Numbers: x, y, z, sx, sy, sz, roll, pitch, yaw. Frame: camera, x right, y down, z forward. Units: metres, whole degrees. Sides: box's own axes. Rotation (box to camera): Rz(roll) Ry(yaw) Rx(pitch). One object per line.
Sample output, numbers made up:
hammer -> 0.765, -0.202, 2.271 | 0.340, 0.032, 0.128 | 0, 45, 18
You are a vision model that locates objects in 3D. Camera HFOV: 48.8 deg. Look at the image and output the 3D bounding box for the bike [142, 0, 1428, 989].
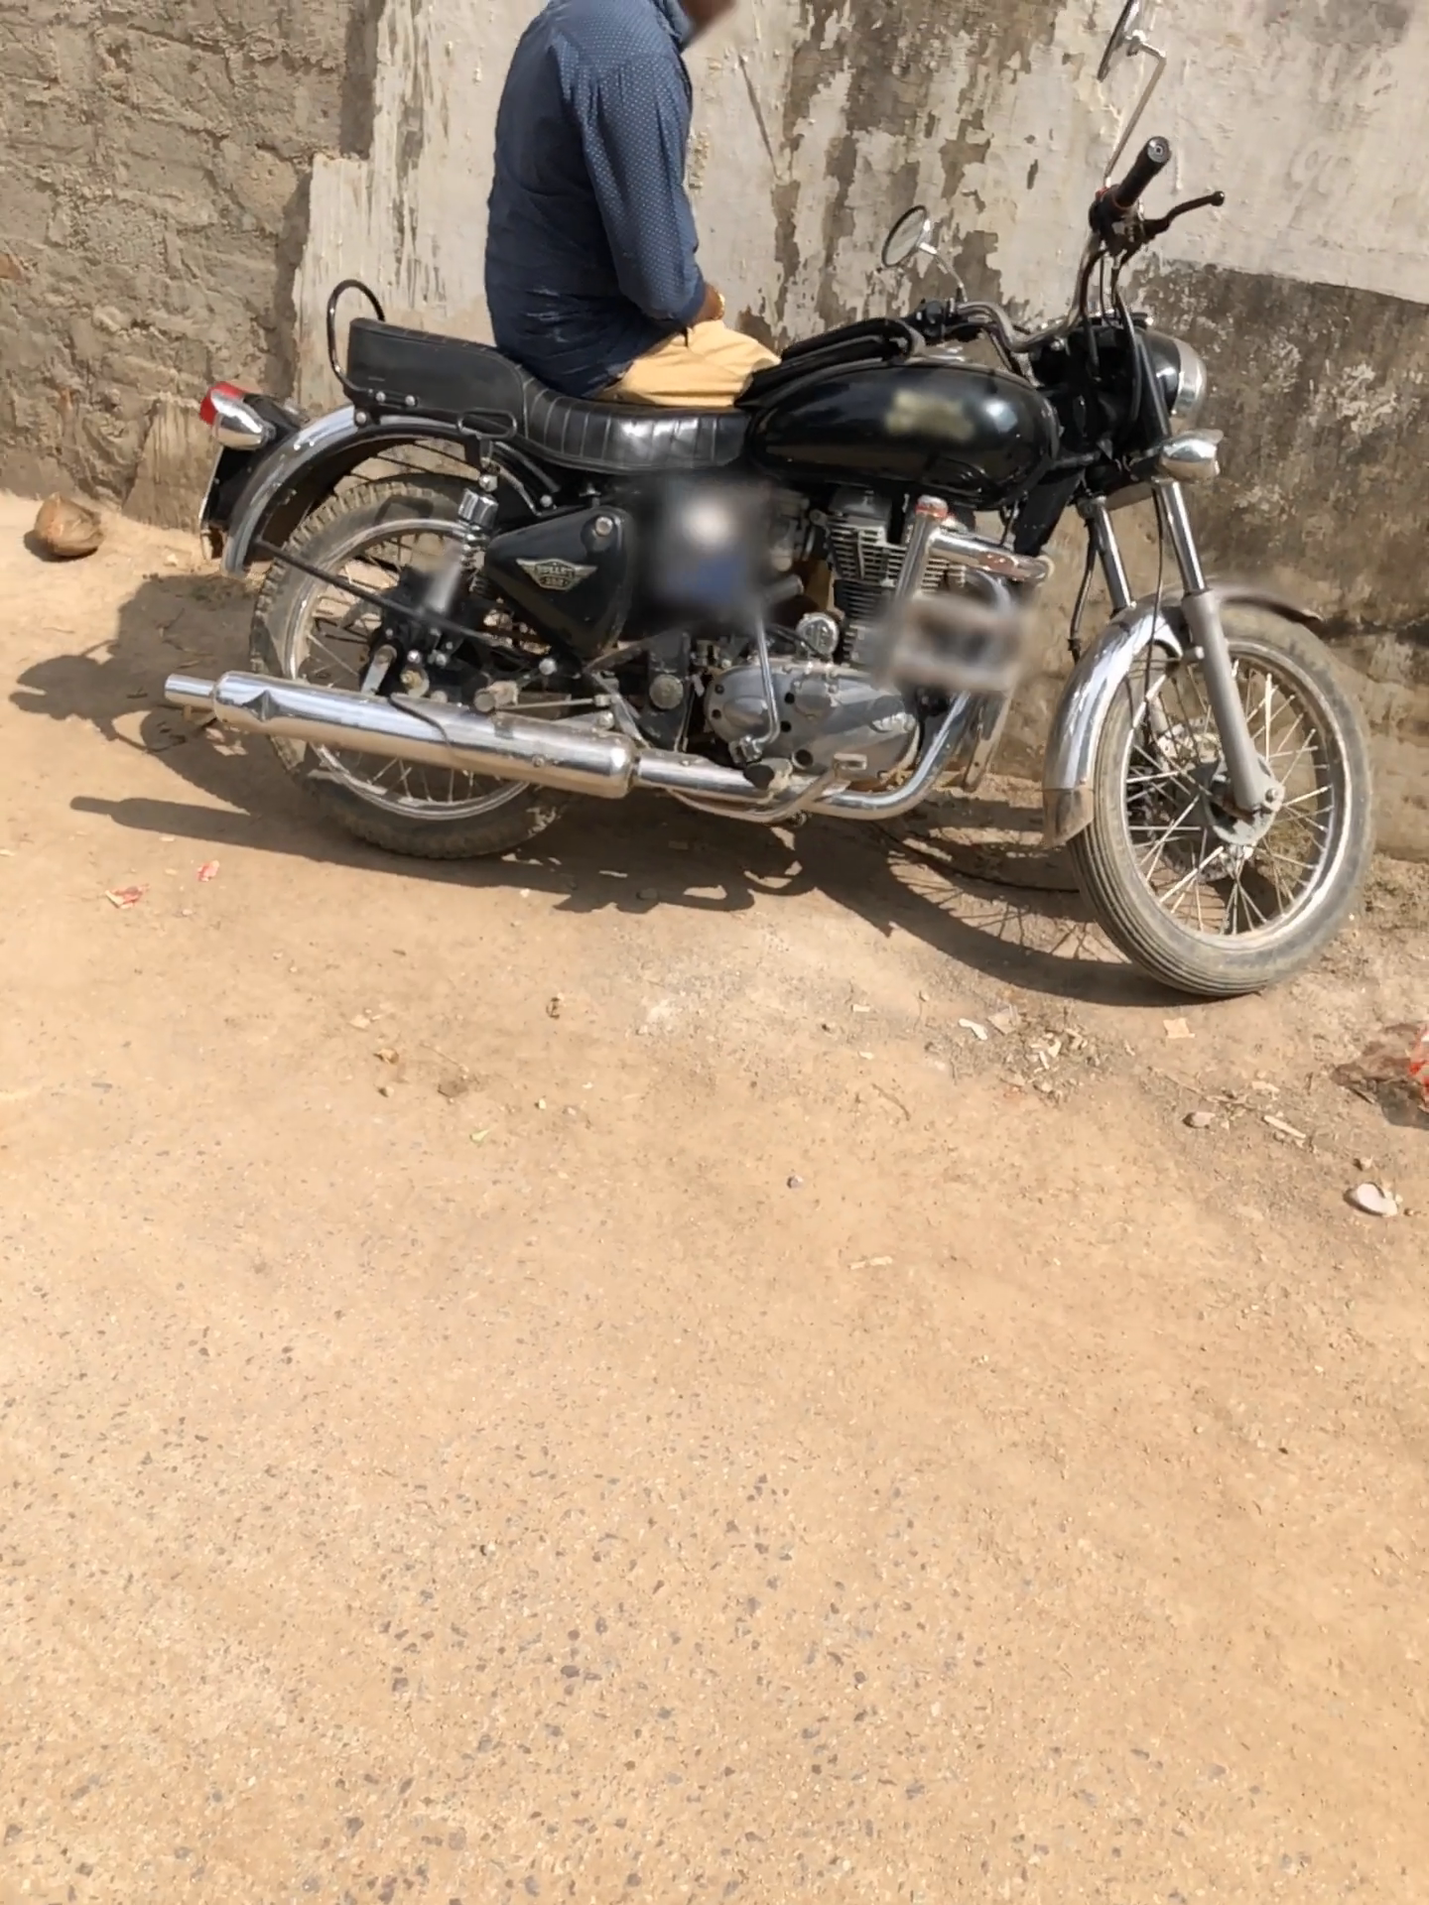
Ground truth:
bike -> 0.221, -0.817, 2.707 | 1.930, 1.317, 0.887 | 8, 31, 3
